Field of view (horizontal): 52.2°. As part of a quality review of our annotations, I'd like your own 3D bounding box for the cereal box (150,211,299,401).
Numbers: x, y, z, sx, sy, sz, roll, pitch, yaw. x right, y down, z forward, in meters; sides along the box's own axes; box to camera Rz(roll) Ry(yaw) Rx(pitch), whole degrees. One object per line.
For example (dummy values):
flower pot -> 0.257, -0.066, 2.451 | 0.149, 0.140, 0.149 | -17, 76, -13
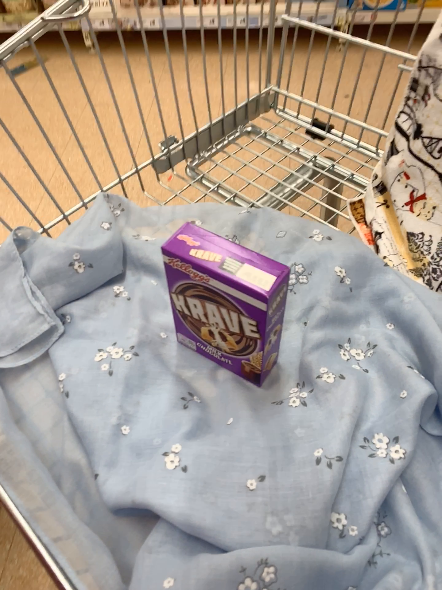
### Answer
cereal box -> 0.003, 0.013, 0.344 | 0.090, 0.129, 0.040 | 27, 56, 22
